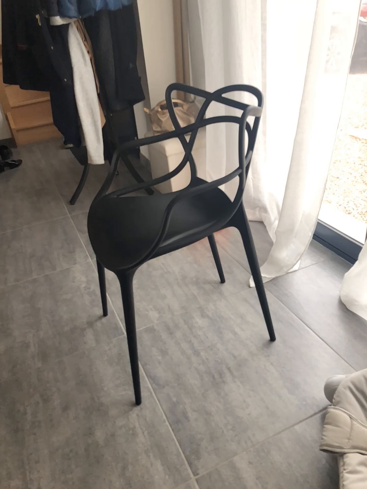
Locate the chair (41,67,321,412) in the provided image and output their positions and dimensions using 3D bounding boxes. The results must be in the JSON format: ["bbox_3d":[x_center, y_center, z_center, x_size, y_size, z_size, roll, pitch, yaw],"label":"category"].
[{"bbox_3d":[-0.015,-0.063,1.265,0.587,0.795,0.564,-16,32,-15],"label":"chair"}]
